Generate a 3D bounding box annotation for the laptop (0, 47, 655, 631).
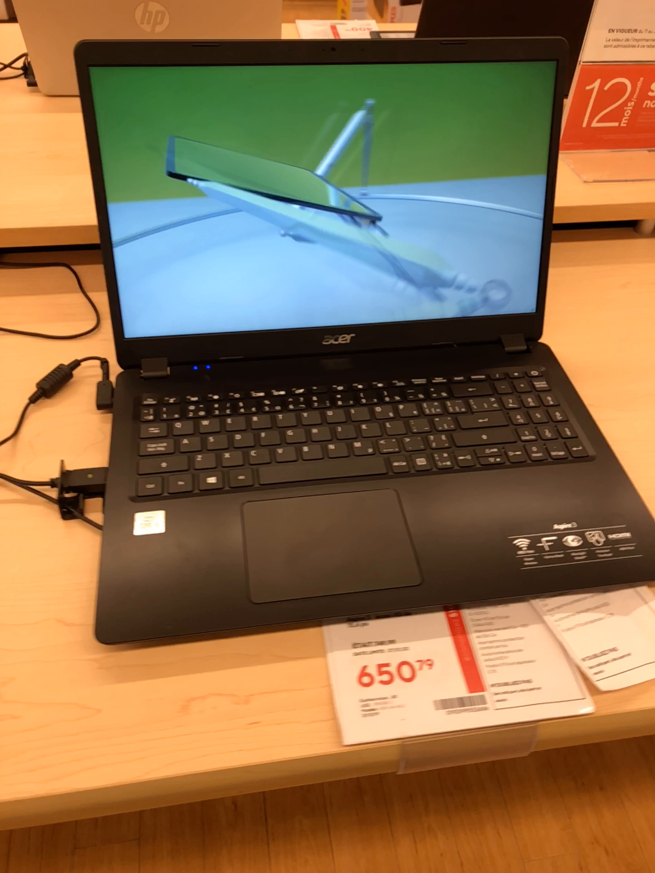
[{"bbox_3d":[0.026,-0.088,0.472,0.354,0.210,0.329,-4,45,-8],"label":"laptop"}]
